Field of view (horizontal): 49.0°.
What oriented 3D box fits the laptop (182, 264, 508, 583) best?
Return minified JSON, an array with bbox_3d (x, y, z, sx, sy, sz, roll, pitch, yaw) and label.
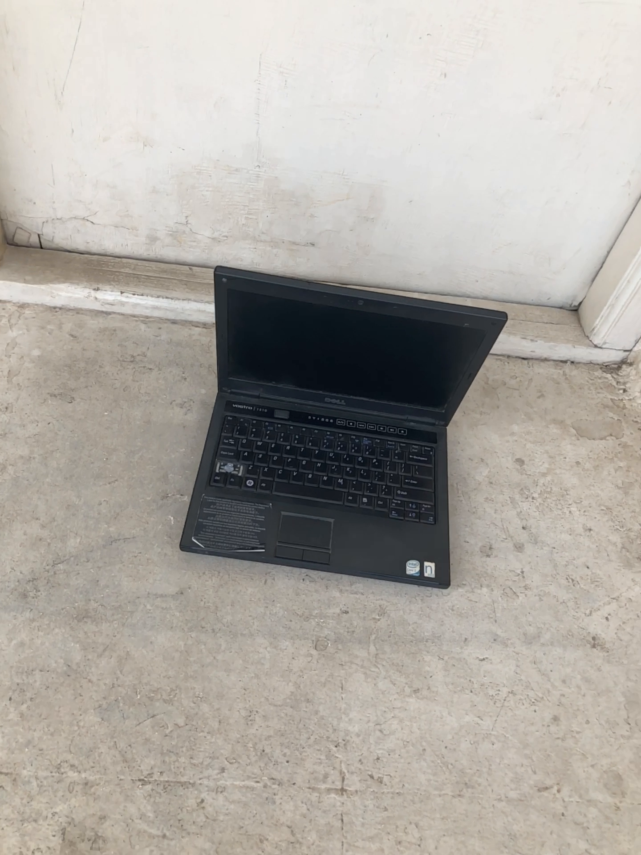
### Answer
[{"bbox_3d":[0.020,0.002,0.772,0.292,0.219,0.214,9,53,-2],"label":"laptop"}]
